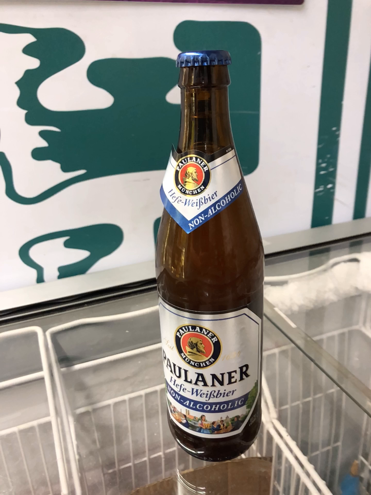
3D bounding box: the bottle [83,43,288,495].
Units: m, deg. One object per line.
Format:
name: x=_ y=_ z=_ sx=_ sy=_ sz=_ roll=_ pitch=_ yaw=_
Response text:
bottle: x=0.009 y=0.019 z=0.250 sx=0.080 sy=0.248 sz=0.070 roll=7 pitch=24 yaw=22
